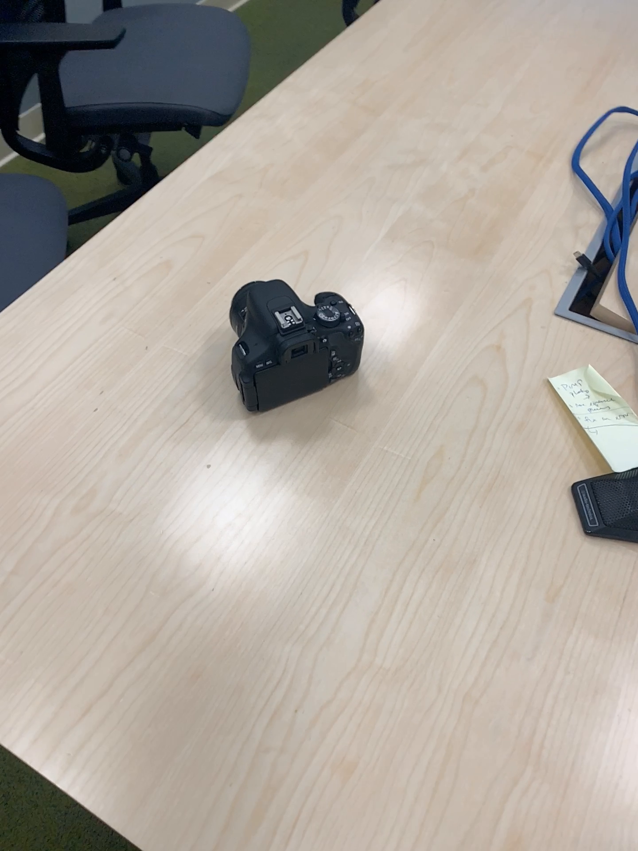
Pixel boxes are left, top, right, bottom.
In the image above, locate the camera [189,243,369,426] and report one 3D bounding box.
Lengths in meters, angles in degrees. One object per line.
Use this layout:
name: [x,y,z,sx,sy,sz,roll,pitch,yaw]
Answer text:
camera: [-0.040,-0.094,0.656,0.129,0.085,0.128,-22,56,-16]
